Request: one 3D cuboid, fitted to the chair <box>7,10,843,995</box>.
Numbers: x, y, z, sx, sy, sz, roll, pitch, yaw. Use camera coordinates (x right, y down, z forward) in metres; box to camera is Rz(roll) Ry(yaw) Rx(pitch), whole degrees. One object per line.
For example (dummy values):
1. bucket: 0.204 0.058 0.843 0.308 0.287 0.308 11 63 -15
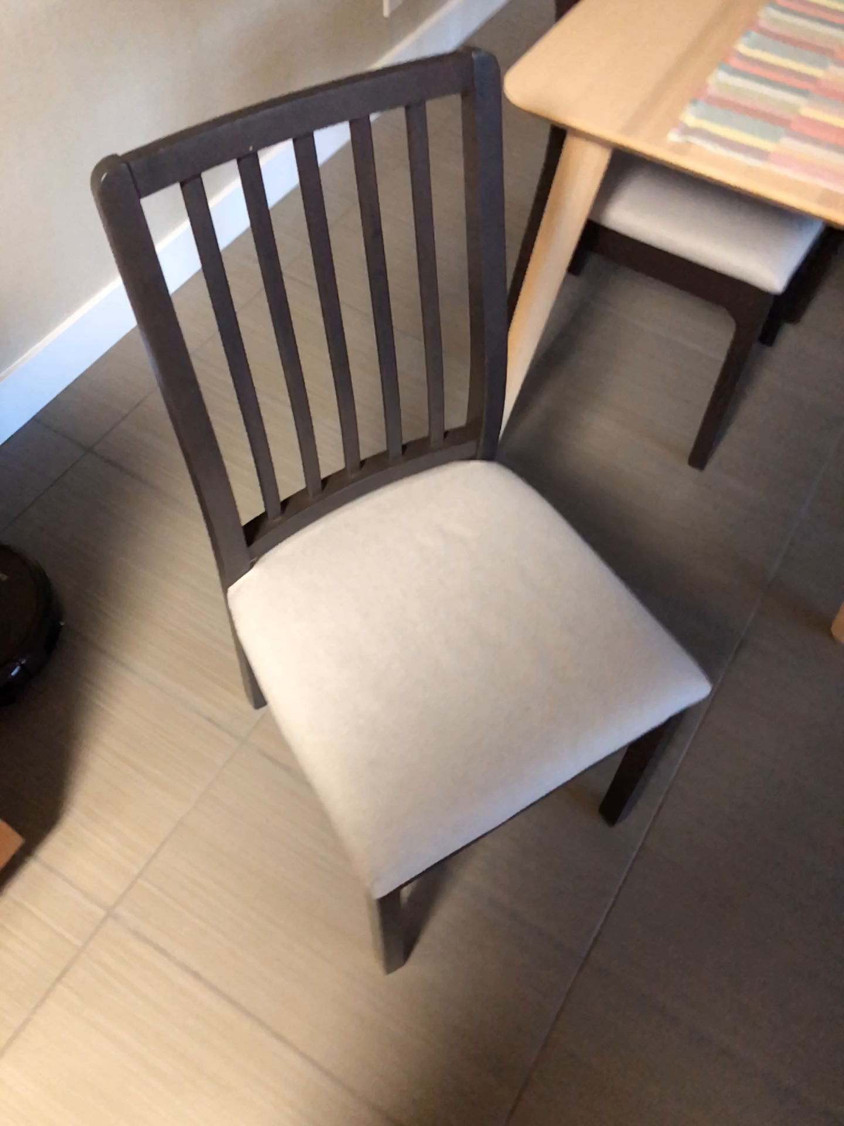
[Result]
1. chair: -0.013 0.072 1.154 0.480 1.127 0.511 -23 60 -16
